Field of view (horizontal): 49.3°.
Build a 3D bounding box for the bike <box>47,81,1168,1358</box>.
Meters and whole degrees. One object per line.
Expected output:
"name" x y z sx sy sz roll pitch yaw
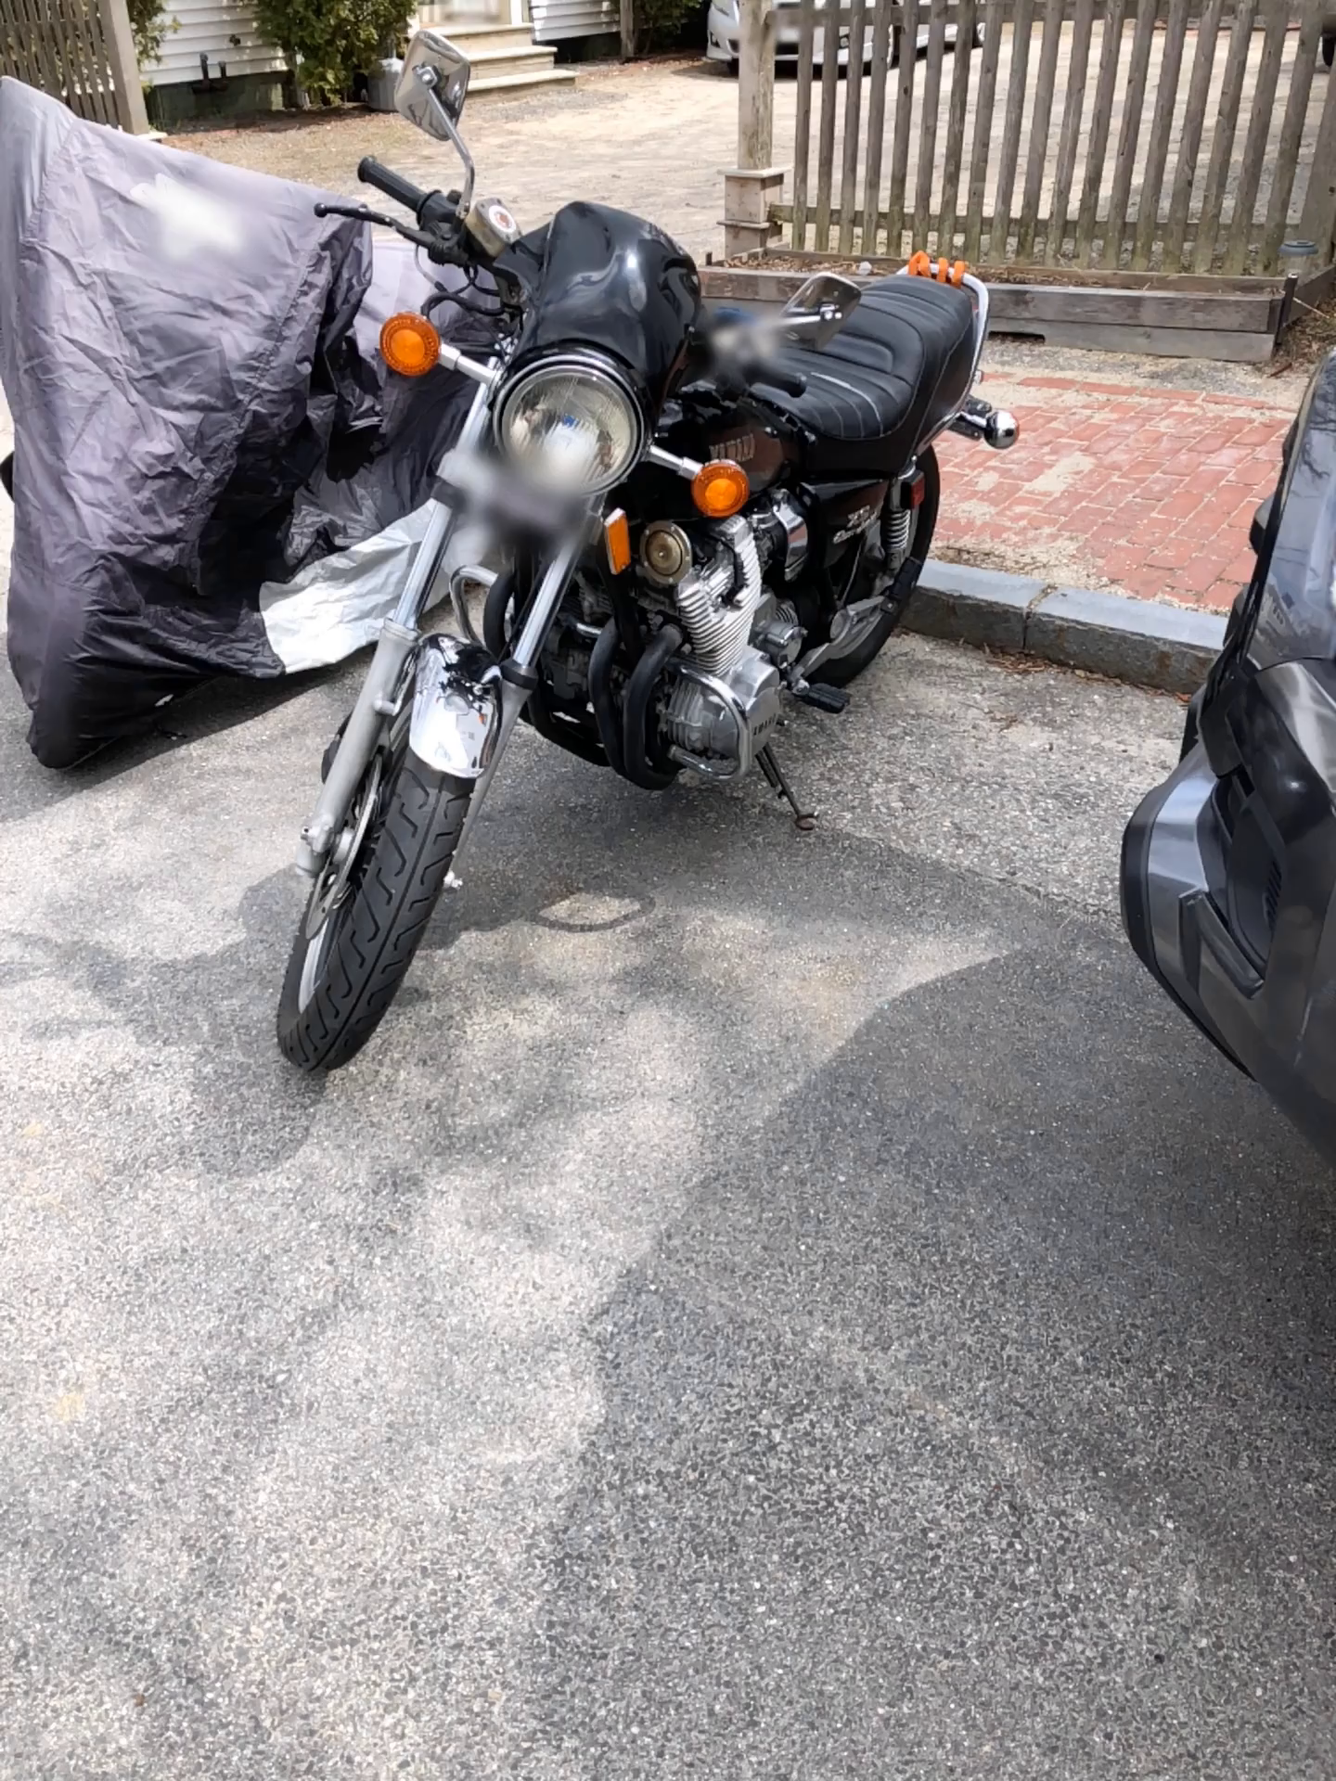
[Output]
"bike" 0.131 -0.517 2.376 0.709 1.157 1.978 16 39 24
